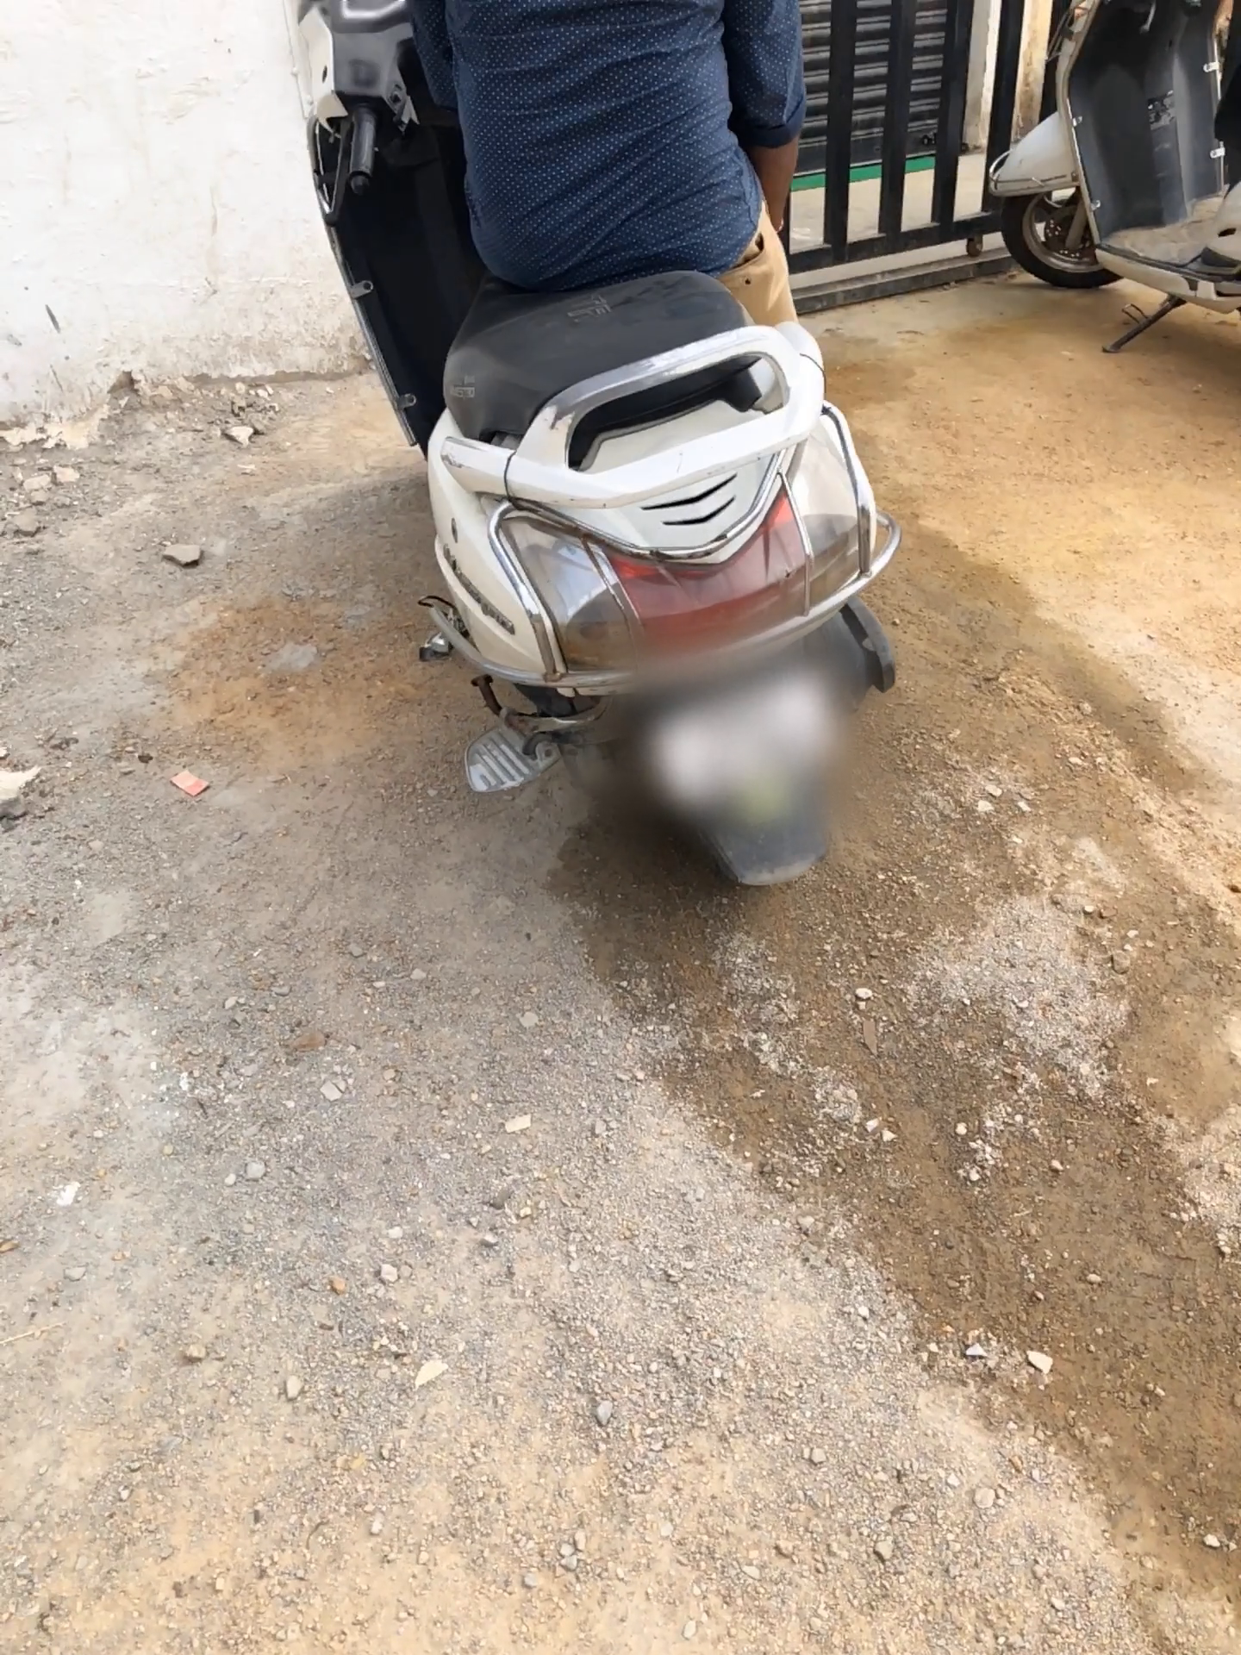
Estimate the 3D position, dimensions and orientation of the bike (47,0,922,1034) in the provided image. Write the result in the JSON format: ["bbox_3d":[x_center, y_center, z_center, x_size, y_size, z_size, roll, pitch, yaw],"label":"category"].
[{"bbox_3d":[-0.291,-0.795,2.014,0.601,1.231,1.561,-14,41,-16],"label":"bike"}]
